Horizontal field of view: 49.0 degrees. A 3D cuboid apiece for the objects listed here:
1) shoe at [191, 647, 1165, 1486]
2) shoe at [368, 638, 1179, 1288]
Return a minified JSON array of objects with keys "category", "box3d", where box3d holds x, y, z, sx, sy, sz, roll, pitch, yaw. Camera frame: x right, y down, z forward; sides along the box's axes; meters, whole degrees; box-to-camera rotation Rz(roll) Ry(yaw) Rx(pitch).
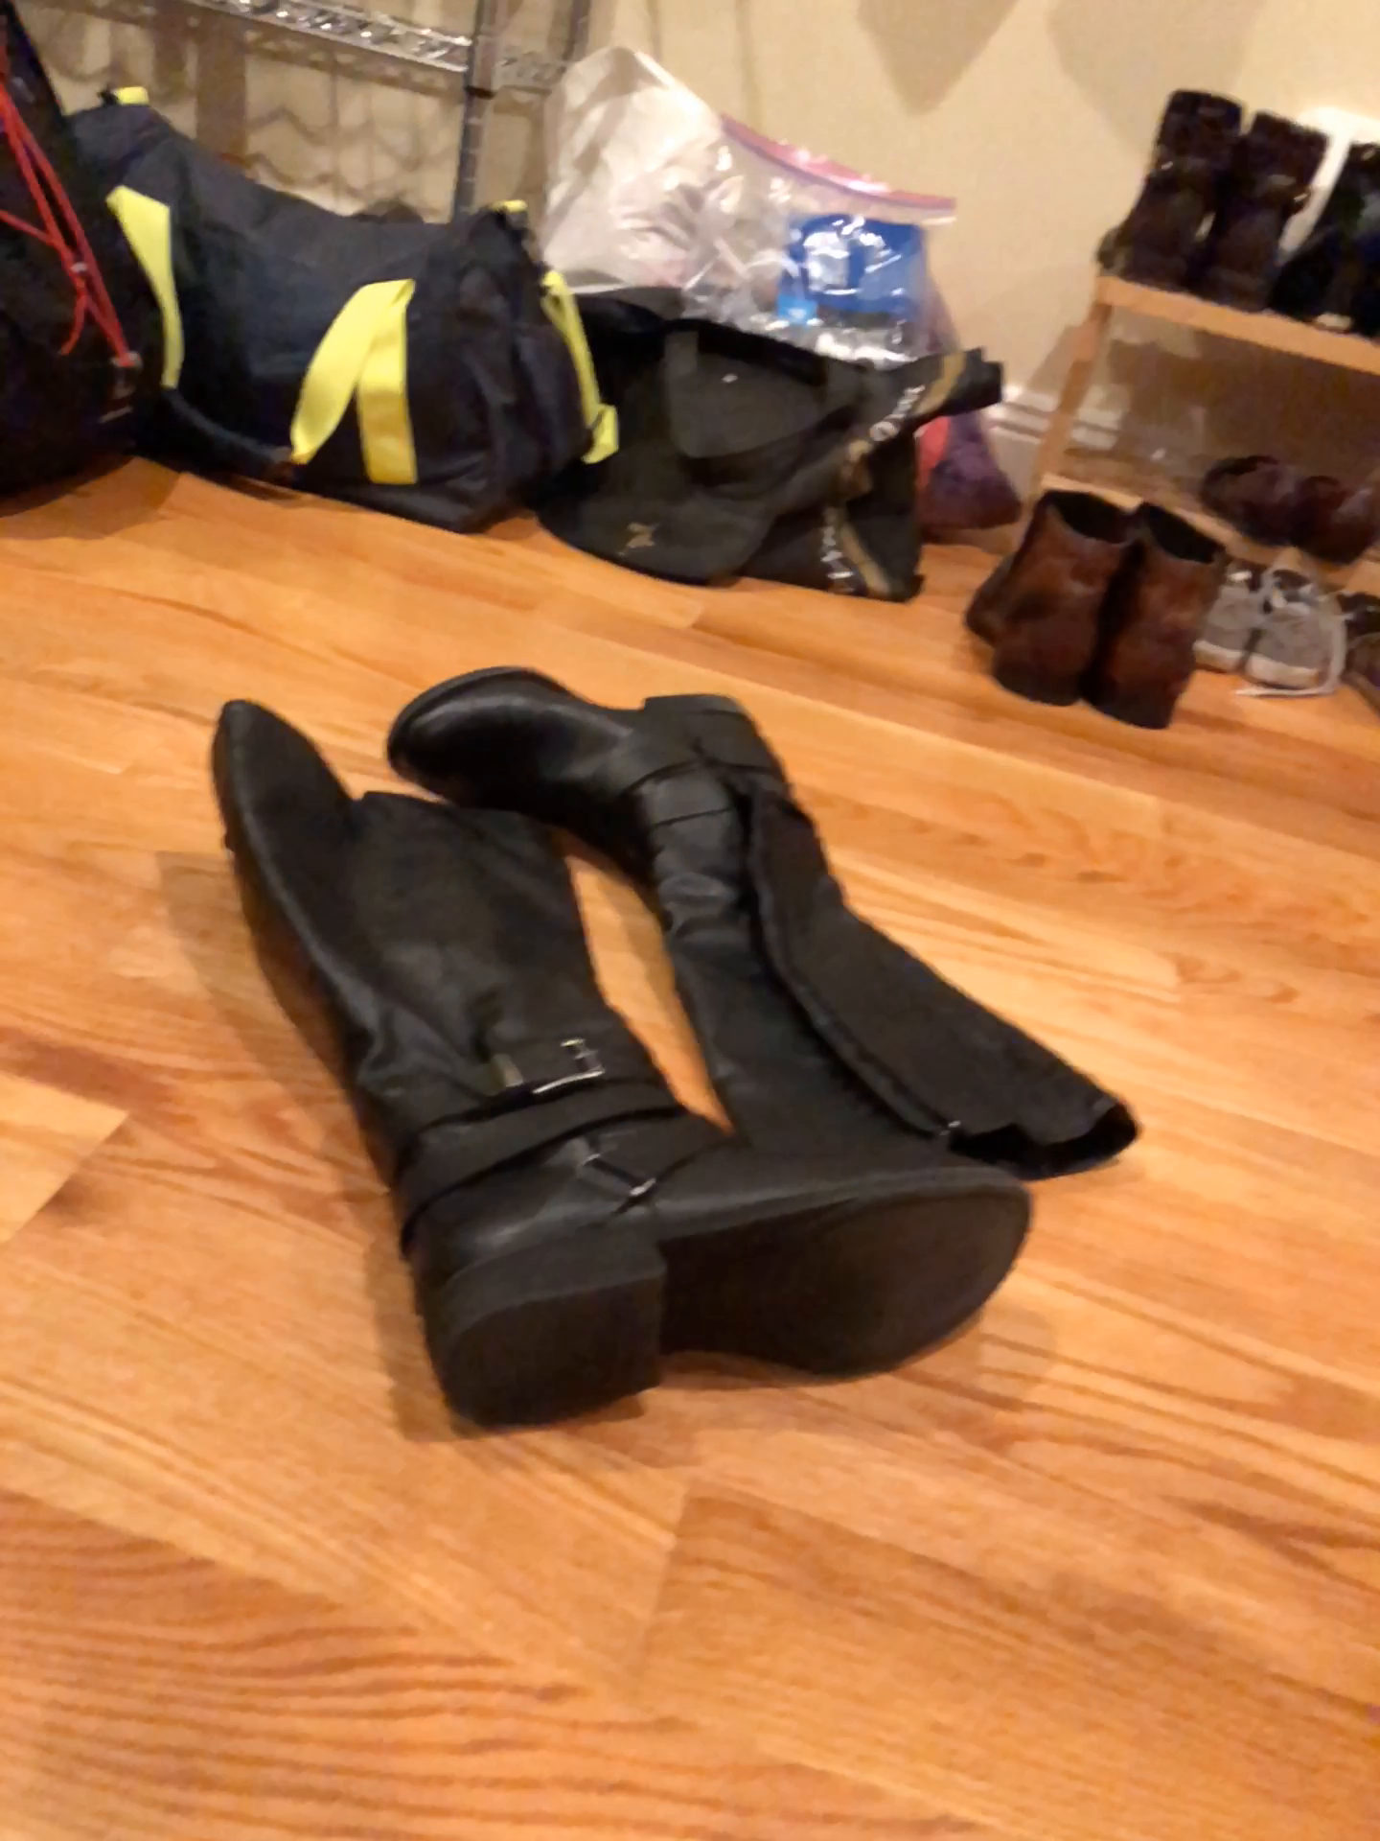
[{"category":"shoe","box3d":[-0.045,0.021,0.654,0.291,0.104,0.405,0,32,-23]},{"category":"shoe","box3d":[0.005,-0.008,0.728,0.250,0.094,0.395,1,31,-22]}]
